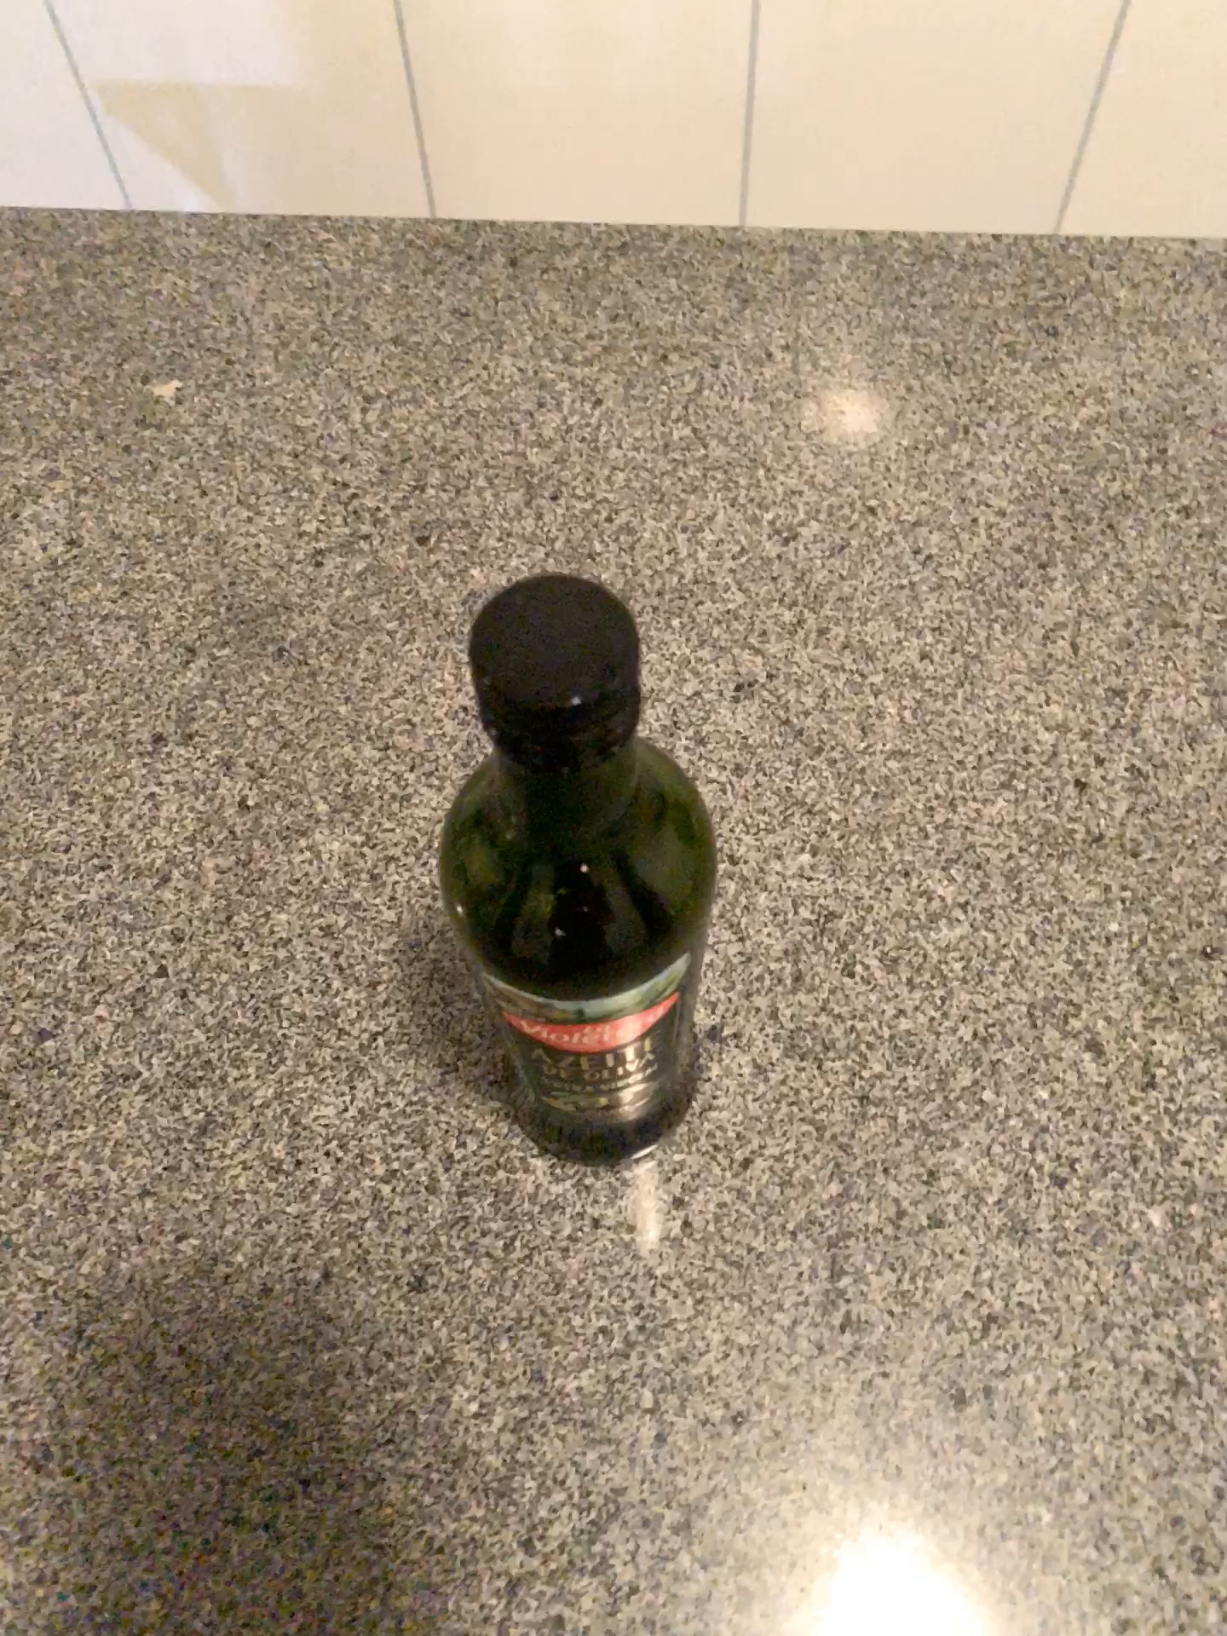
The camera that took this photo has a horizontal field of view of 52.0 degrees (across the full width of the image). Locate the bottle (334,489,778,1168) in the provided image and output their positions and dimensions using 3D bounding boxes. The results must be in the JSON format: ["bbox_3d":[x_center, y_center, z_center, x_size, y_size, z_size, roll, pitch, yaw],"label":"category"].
[{"bbox_3d":[-0.007,0.027,0.317,0.070,0.239,0.060,-3,61,0],"label":"bottle"}]
